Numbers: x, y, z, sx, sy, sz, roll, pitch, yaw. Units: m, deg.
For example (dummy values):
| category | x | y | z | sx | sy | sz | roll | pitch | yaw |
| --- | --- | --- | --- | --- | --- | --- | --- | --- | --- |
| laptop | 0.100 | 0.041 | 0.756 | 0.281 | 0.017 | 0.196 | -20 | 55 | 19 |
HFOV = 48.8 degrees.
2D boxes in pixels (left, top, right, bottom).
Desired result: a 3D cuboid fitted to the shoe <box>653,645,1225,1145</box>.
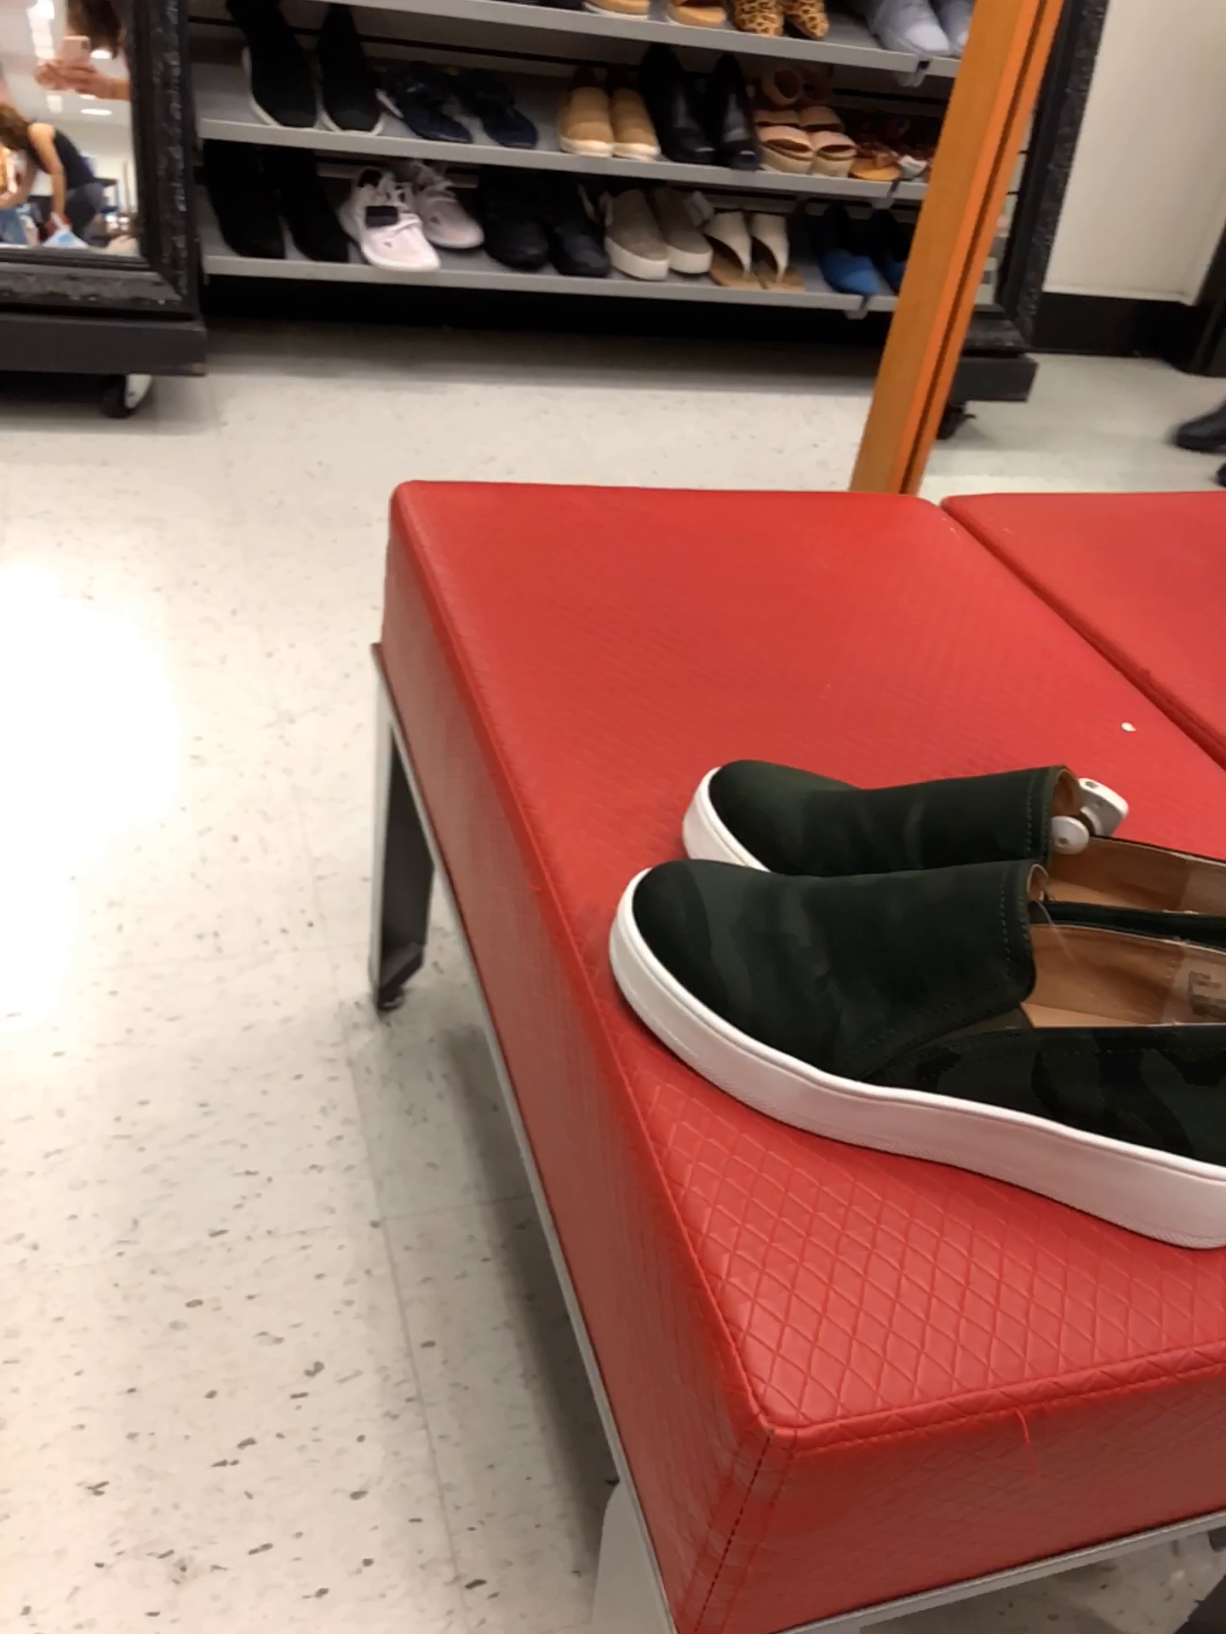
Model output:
| category | x | y | z | sx | sy | sz | roll | pitch | yaw |
| --- | --- | --- | --- | --- | --- | --- | --- | --- | --- |
| shoe | 0.154 | 0.024 | 0.561 | 0.250 | 0.090 | 0.089 | 22 | 36 | 17 |

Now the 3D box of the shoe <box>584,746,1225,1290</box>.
| category | x | y | z | sx | sy | sz | roll | pitch | yaw |
| --- | --- | --- | --- | --- | --- | --- | --- | --- | --- |
| shoe | 0.124 | 0.067 | 0.493 | 0.243 | 0.090 | 0.091 | 17 | 35 | 10 |
